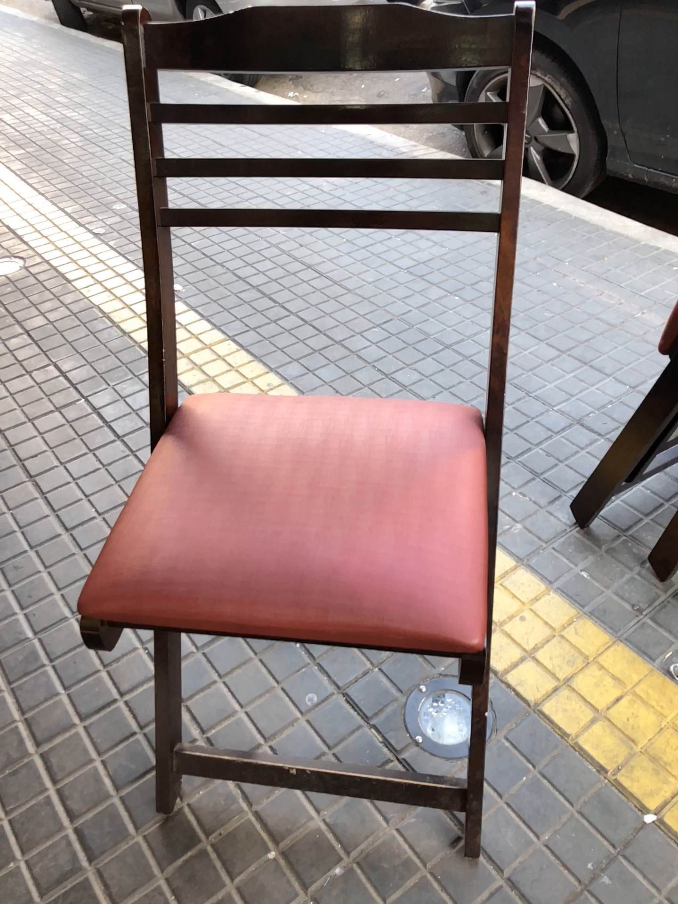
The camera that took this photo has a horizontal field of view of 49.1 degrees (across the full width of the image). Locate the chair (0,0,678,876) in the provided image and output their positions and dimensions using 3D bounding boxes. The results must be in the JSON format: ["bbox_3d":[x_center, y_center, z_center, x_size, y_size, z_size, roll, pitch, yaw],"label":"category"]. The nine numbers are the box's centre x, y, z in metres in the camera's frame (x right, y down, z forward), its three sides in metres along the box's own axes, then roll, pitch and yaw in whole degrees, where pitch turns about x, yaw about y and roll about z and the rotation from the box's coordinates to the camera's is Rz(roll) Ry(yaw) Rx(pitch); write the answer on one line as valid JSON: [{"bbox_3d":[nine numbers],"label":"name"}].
[{"bbox_3d":[-0.006,-0.012,0.780,0.510,0.844,0.483,3,42,9],"label":"chair"}]
